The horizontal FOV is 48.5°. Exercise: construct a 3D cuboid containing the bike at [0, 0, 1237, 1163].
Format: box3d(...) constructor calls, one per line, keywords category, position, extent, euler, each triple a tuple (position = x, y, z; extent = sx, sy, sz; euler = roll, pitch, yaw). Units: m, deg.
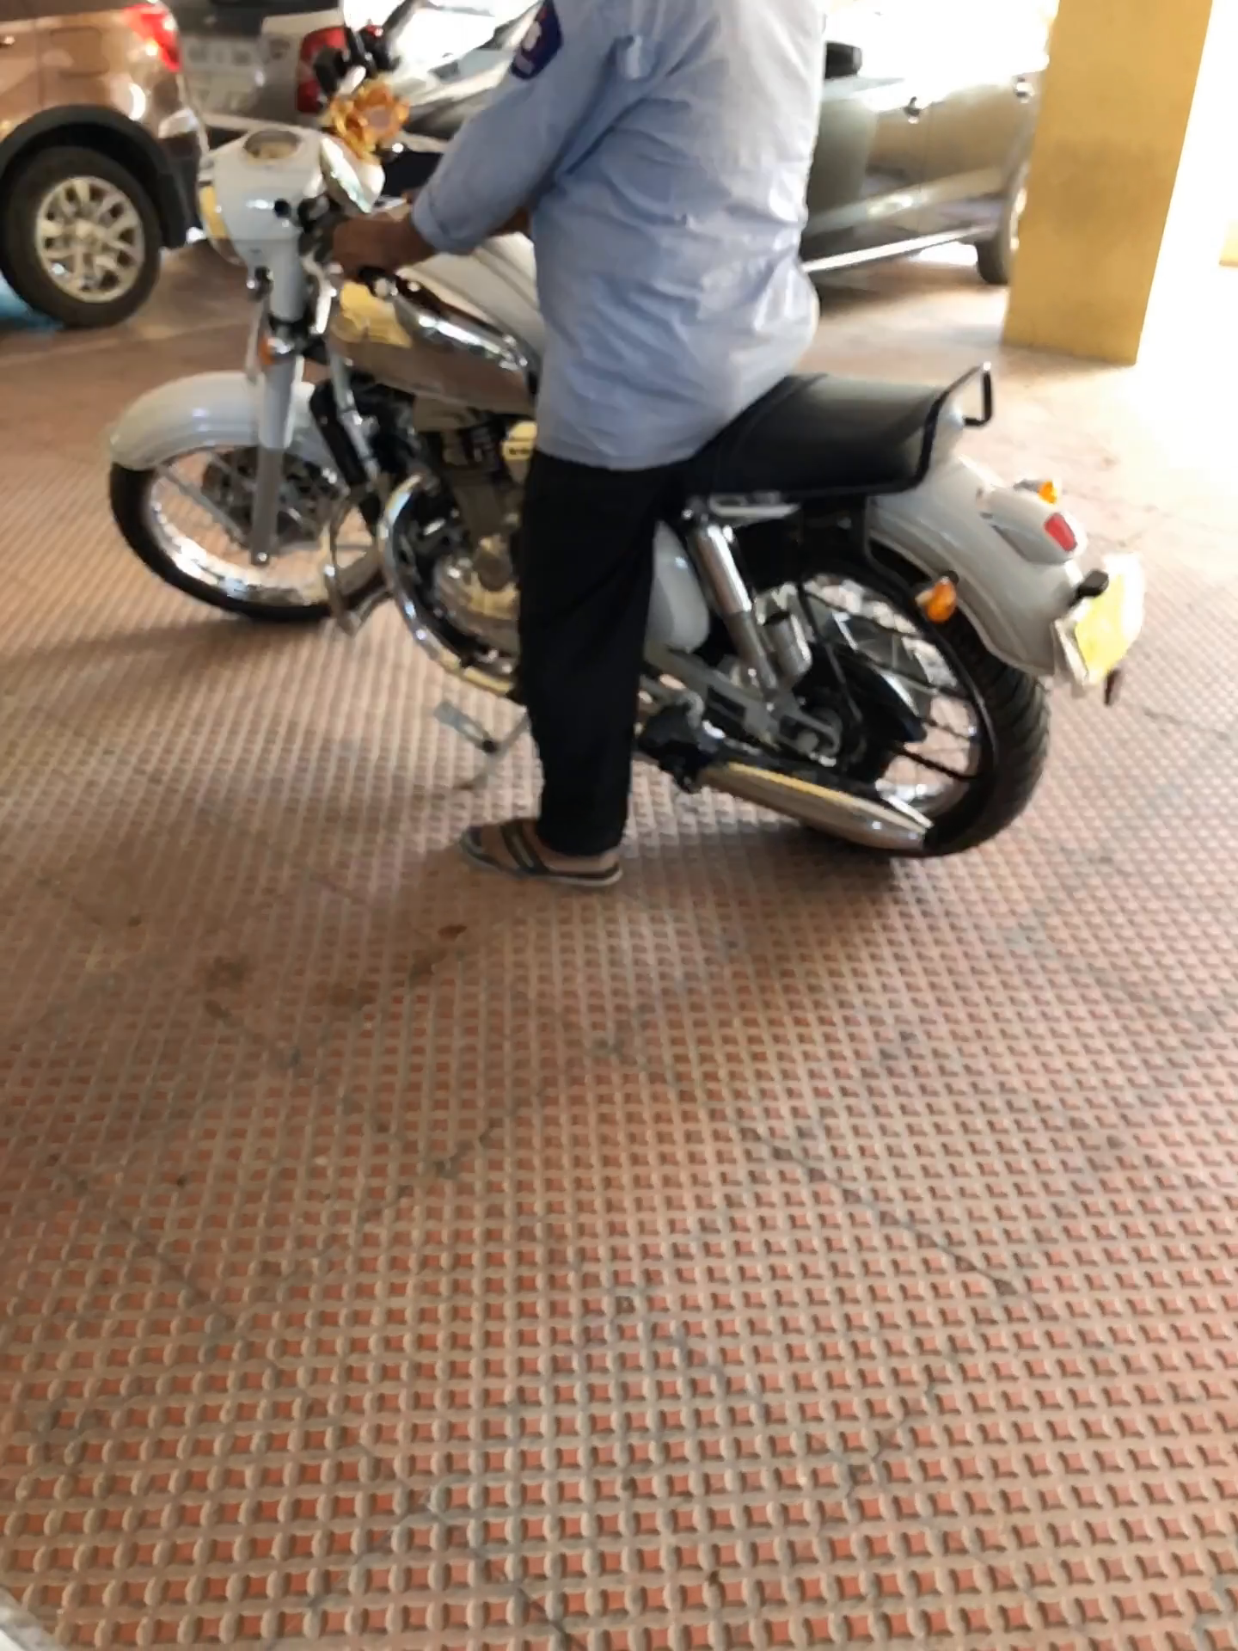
box3d(category="bike", position=(-0.299, -0.558, 2.095), extent=(1.897, 1.233, 0.849), euler=(19, 36, 25))
